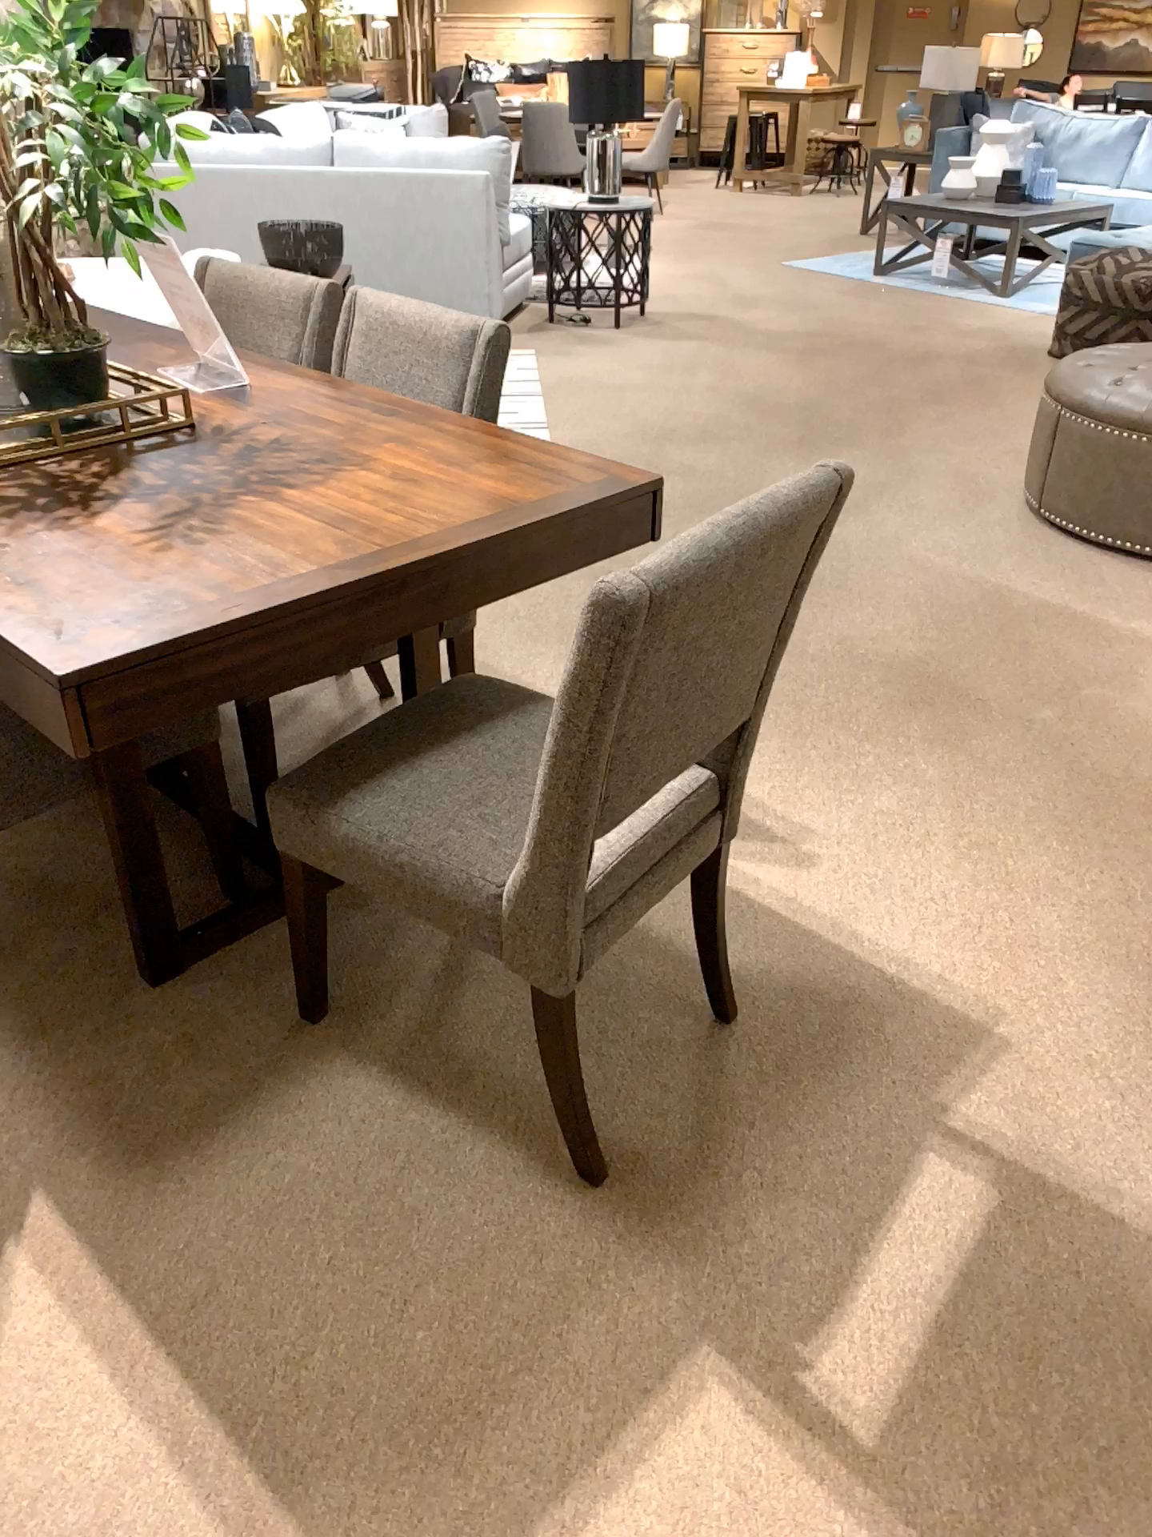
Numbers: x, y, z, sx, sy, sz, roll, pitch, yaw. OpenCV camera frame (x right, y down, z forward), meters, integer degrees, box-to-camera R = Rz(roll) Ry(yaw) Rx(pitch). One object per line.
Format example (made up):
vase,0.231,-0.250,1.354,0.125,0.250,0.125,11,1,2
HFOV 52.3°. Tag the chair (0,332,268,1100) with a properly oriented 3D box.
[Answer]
chair,-0.917,-0.115,1.743,0.481,0.863,0.632,26,40,35

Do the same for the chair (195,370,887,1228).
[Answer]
chair,-0.044,0.004,1.567,0.632,0.863,0.481,22,37,30
